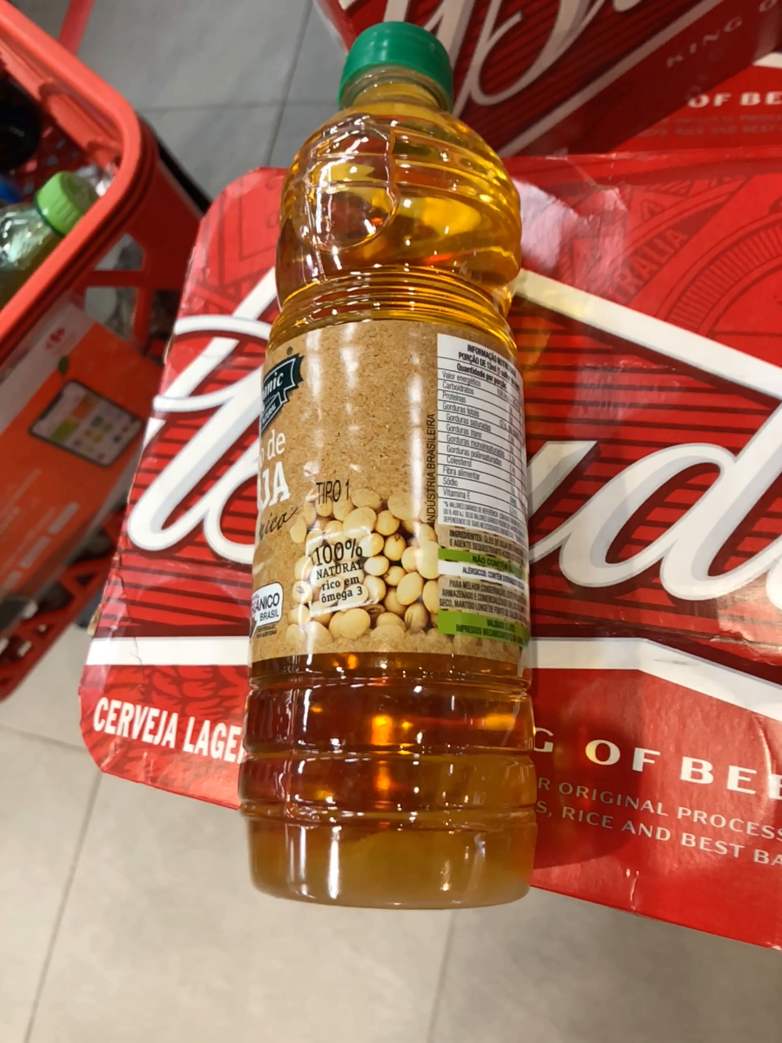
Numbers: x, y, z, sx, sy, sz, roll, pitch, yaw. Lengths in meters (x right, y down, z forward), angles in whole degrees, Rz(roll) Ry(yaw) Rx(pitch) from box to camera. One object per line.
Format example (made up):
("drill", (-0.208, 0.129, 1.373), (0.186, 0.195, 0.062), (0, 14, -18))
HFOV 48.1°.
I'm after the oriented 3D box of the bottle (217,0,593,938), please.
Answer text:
("bottle", (0.002, -0.038, 0.211), (0.060, 0.060, 0.240), (6, 73, -17))
